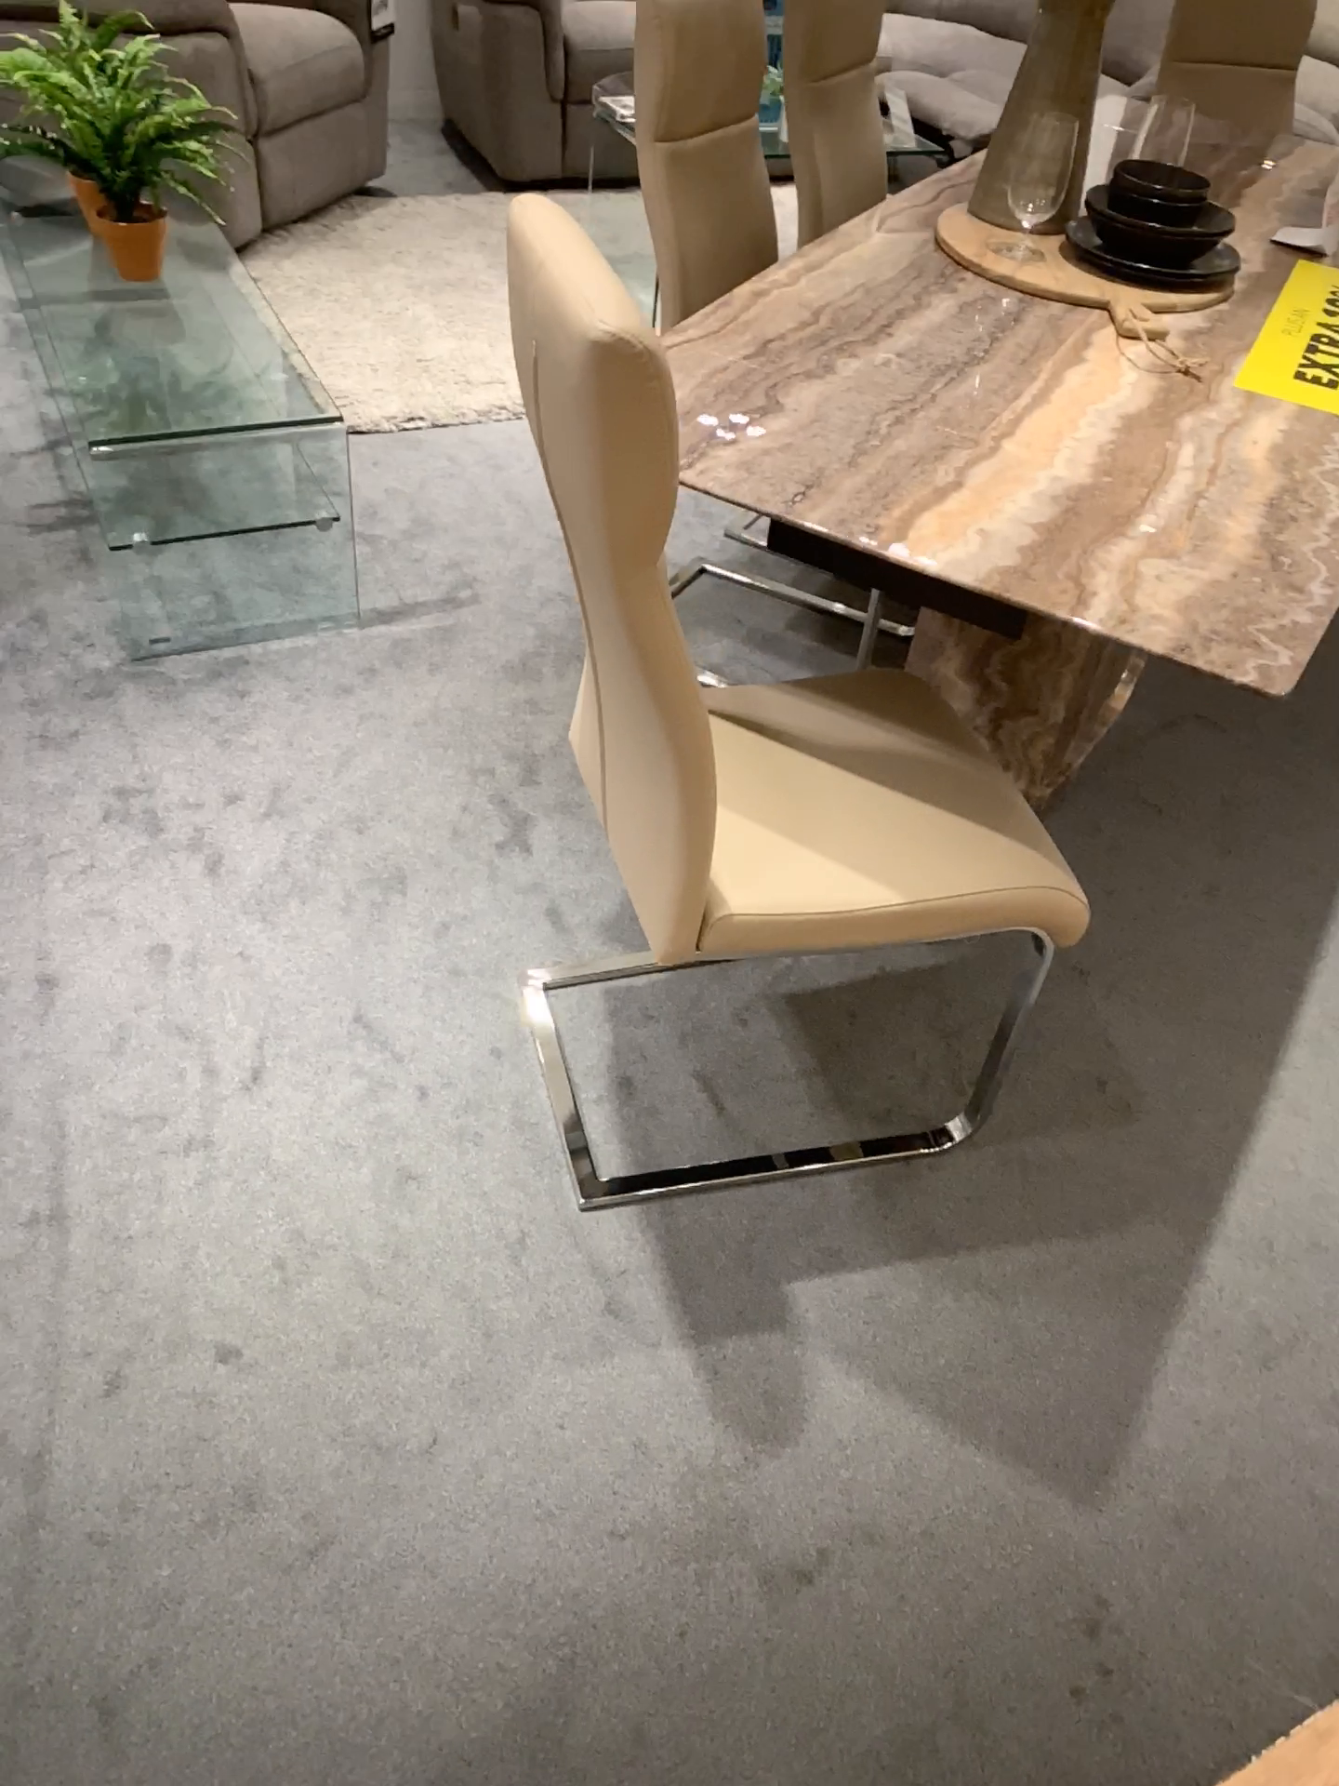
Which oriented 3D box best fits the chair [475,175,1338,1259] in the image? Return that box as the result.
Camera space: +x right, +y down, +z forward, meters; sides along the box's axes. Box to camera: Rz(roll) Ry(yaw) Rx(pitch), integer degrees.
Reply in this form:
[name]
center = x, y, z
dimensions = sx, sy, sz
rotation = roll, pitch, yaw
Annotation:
[chair]
center = 0.123, -0.145, 1.432
dimensions = 0.570, 0.973, 0.478
rotation = -7, 43, -16
